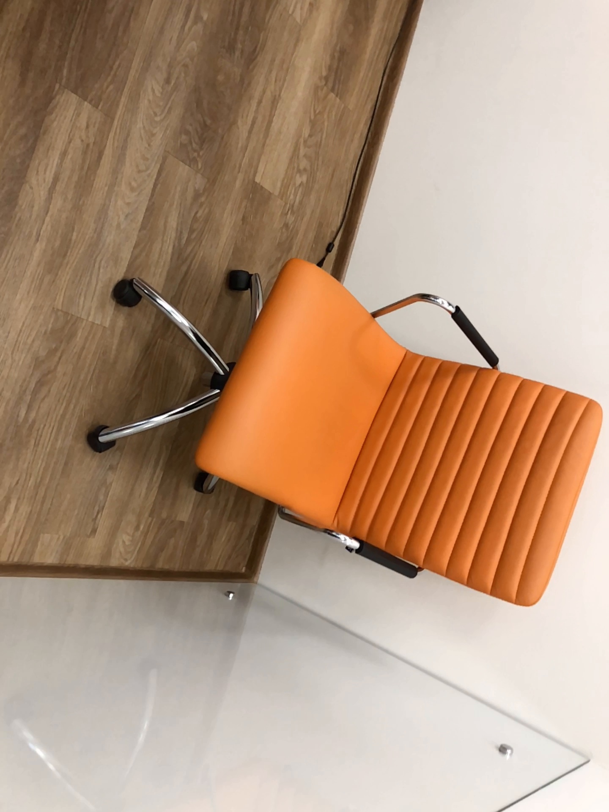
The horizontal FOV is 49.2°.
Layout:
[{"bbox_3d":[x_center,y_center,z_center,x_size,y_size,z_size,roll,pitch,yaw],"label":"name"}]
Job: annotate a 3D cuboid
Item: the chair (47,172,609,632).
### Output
[{"bbox_3d":[0.069,-0.016,1.441,0.663,0.895,0.620,29,79,-48],"label":"chair"}]
